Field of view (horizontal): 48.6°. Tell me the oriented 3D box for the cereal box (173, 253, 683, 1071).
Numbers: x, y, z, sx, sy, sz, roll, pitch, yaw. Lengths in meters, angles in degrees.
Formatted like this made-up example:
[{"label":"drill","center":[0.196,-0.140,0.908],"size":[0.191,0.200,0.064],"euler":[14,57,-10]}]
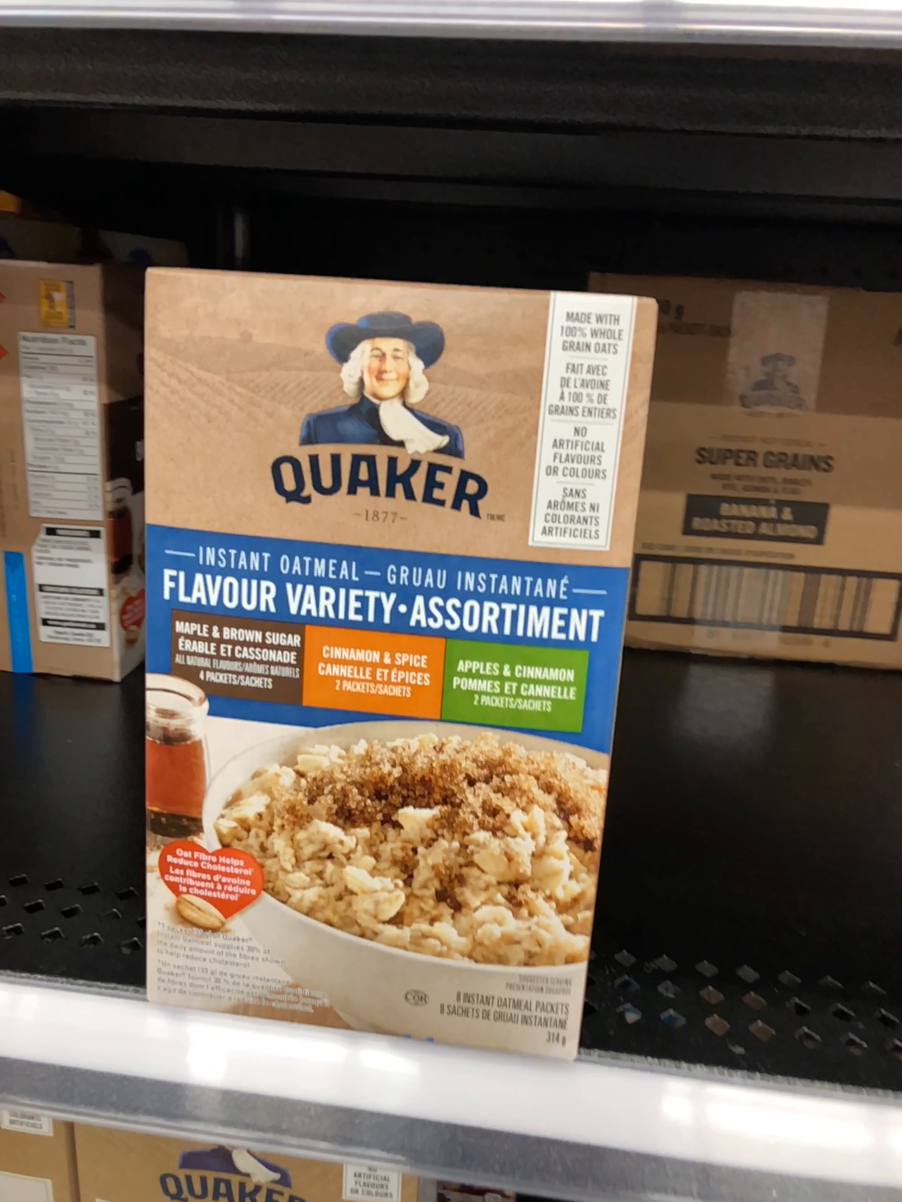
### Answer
[{"label":"cereal box","center":[-0.010,0.016,0.286],"size":[0.120,0.209,0.060],"euler":[5,14,5]}]
